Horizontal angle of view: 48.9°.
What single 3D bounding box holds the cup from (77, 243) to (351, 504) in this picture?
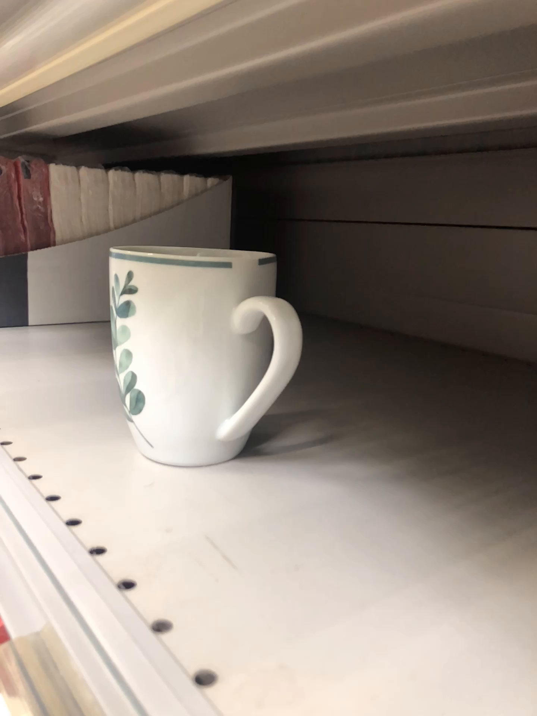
[{"bbox_3d":[-0.033,-0.005,0.288,0.082,0.093,0.116,-6,15,-34],"label":"cup"}]
